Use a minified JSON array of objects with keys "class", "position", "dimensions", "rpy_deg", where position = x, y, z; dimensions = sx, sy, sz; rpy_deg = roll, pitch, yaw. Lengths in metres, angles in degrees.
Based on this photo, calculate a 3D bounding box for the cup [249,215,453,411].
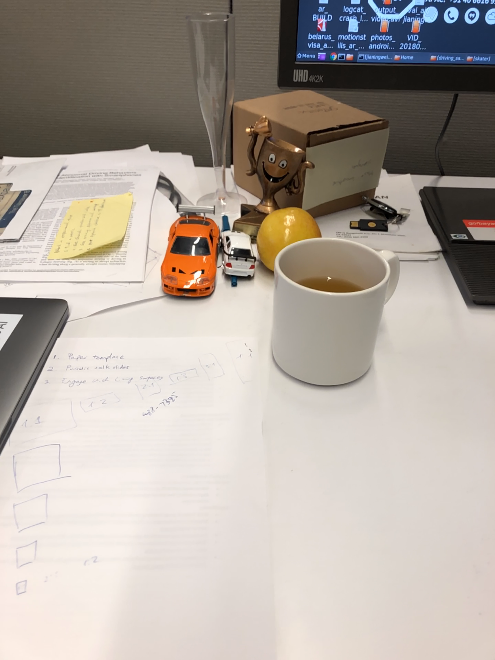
[{"class":"cup","position":[0.073,-0.018,0.401],"dimensions":[0.120,0.080,0.080],"rpy_deg":[-26,44,-32]}]
